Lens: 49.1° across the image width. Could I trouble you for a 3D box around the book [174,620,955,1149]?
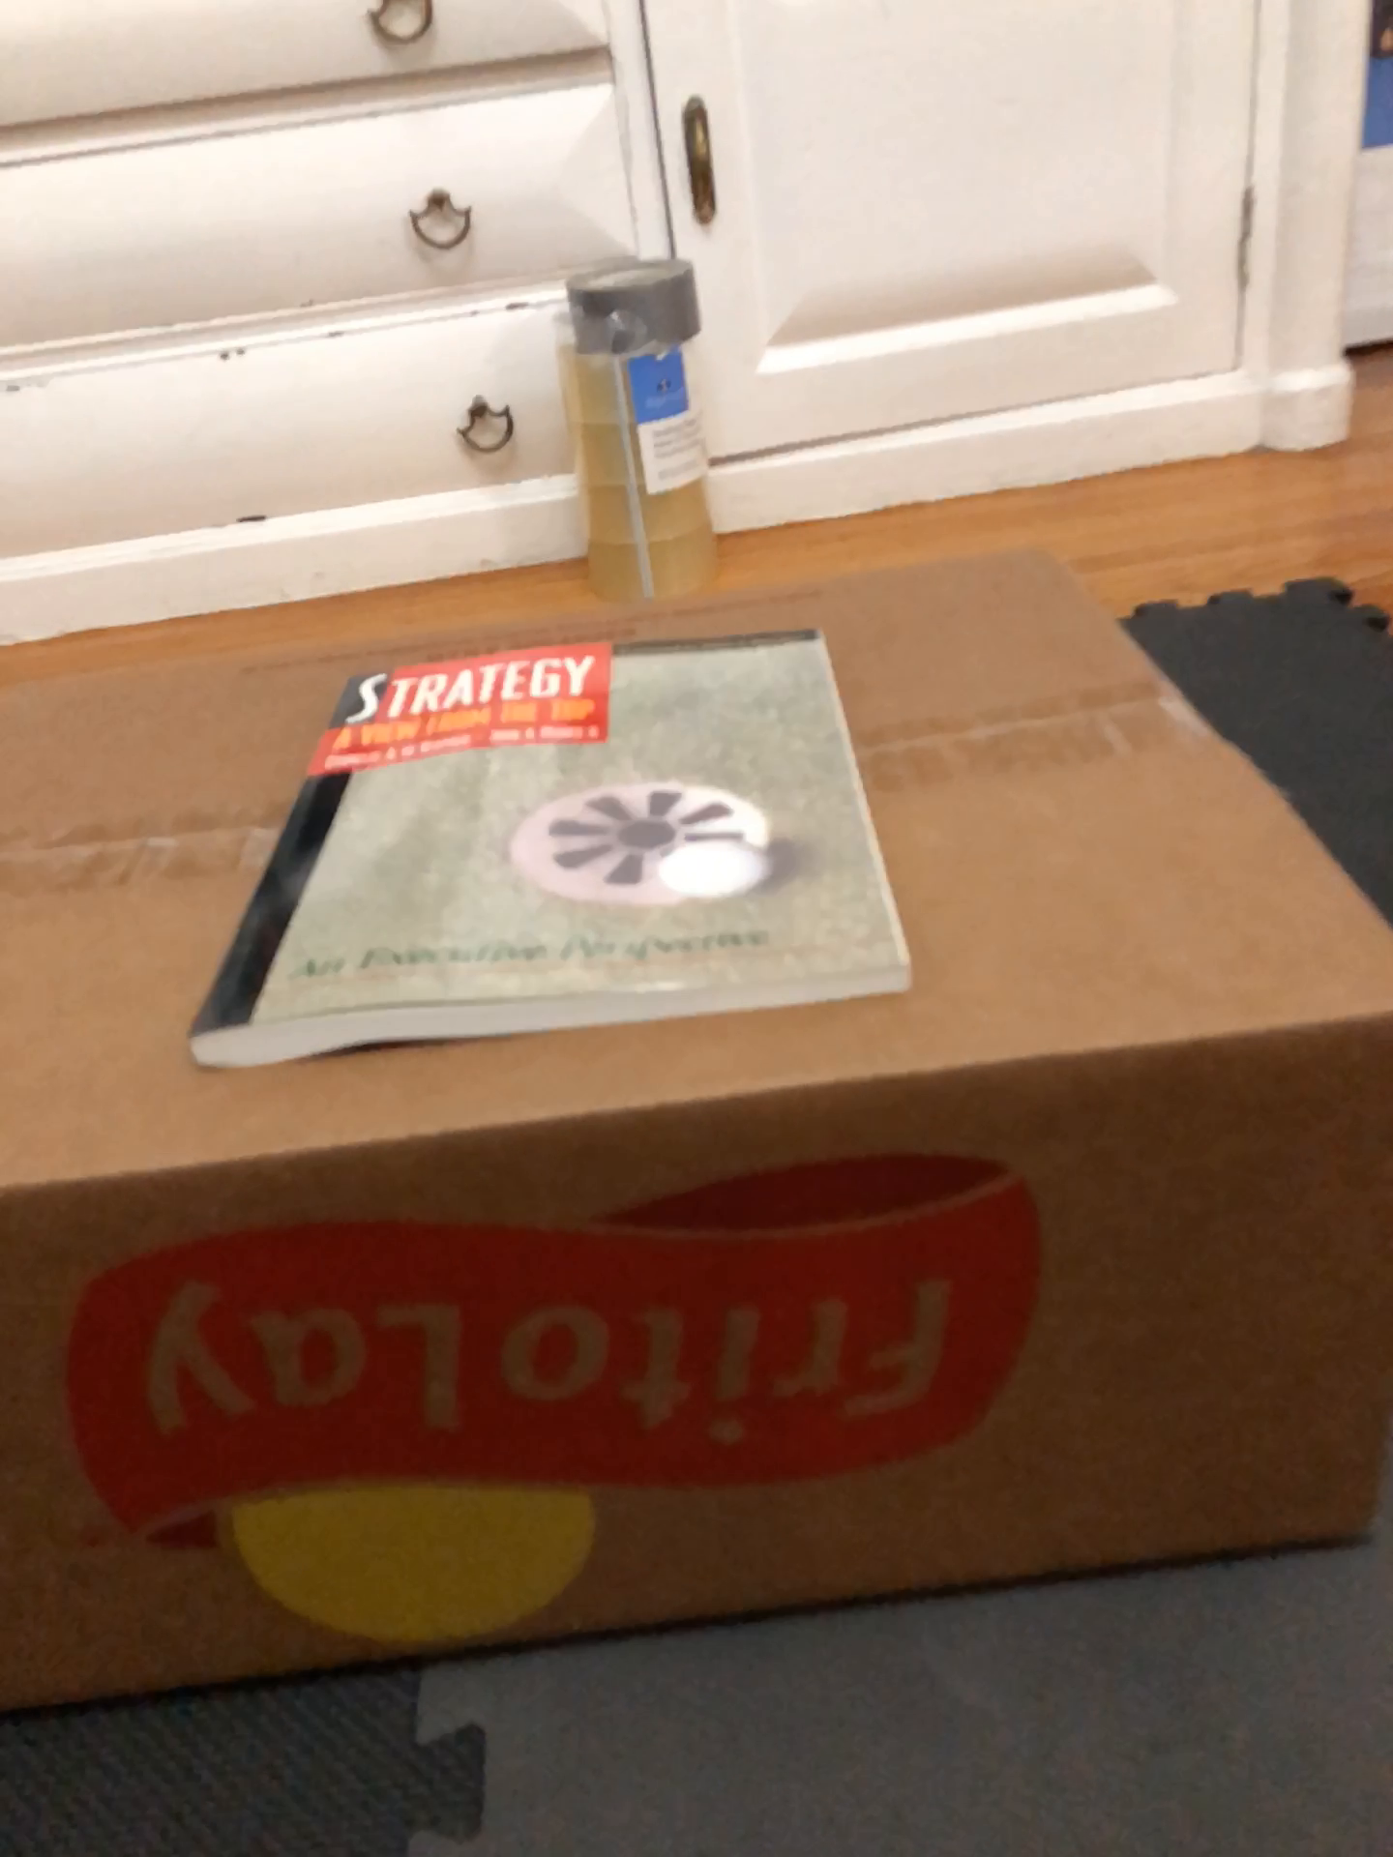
[{"bbox_3d":[-0.033,-0.029,0.457,0.180,0.020,0.241,-7,31,3],"label":"book"}]
